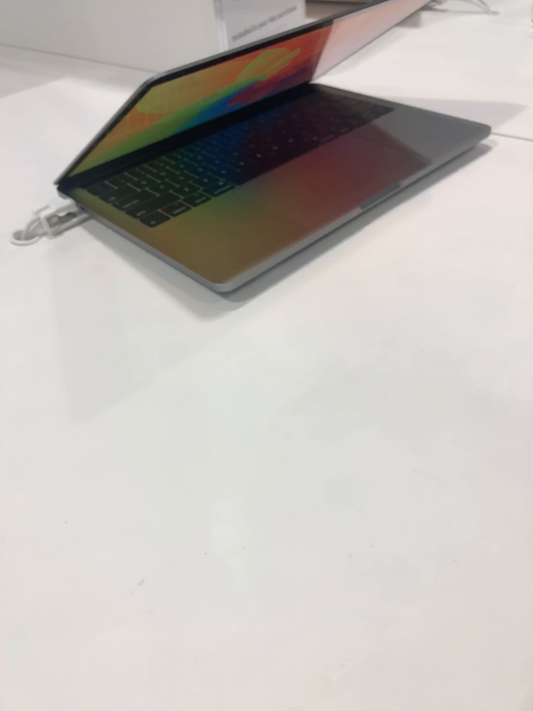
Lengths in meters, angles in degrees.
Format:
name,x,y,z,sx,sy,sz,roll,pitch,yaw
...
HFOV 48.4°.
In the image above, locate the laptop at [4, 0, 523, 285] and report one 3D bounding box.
name,x,y,z,sx,sy,sz,roll,pitch,yaw
laptop,0.007,-0.202,0.444,0.297,0.109,0.211,-35,48,-29
